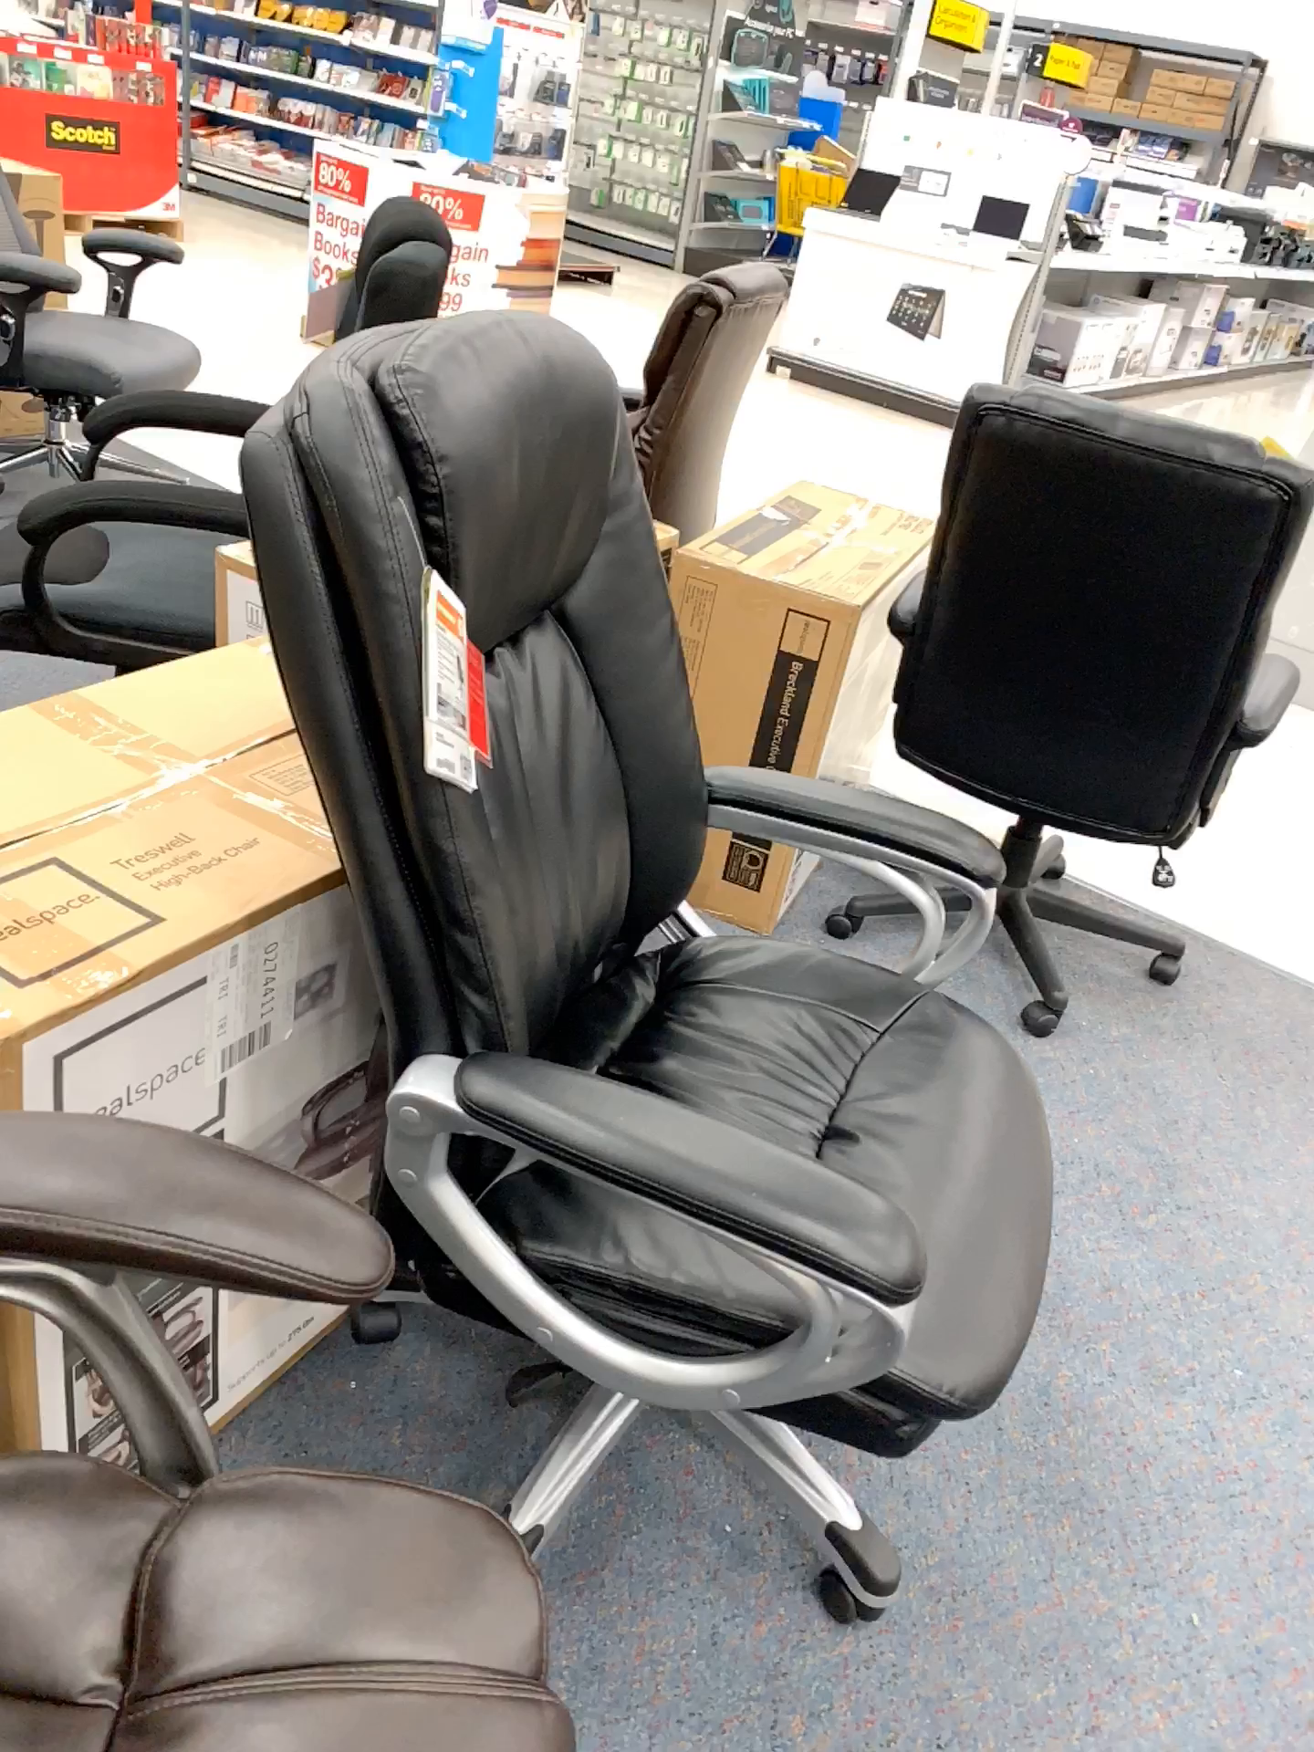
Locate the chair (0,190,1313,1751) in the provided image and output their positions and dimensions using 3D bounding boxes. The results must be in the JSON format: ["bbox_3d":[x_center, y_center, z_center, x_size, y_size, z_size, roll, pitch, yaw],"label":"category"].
[{"bbox_3d":[-0.408,0.413,0.505,0.787,1.046,0.758,12,30,1],"label":"chair"}]

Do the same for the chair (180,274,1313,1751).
[{"bbox_3d":[0.067,0.119,1.195,0.657,1.056,0.677,18,30,11],"label":"chair"}]

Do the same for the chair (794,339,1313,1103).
[{"bbox_3d":[0.763,-0.323,2.295,0.664,0.926,0.841,19,30,13],"label":"chair"}]
